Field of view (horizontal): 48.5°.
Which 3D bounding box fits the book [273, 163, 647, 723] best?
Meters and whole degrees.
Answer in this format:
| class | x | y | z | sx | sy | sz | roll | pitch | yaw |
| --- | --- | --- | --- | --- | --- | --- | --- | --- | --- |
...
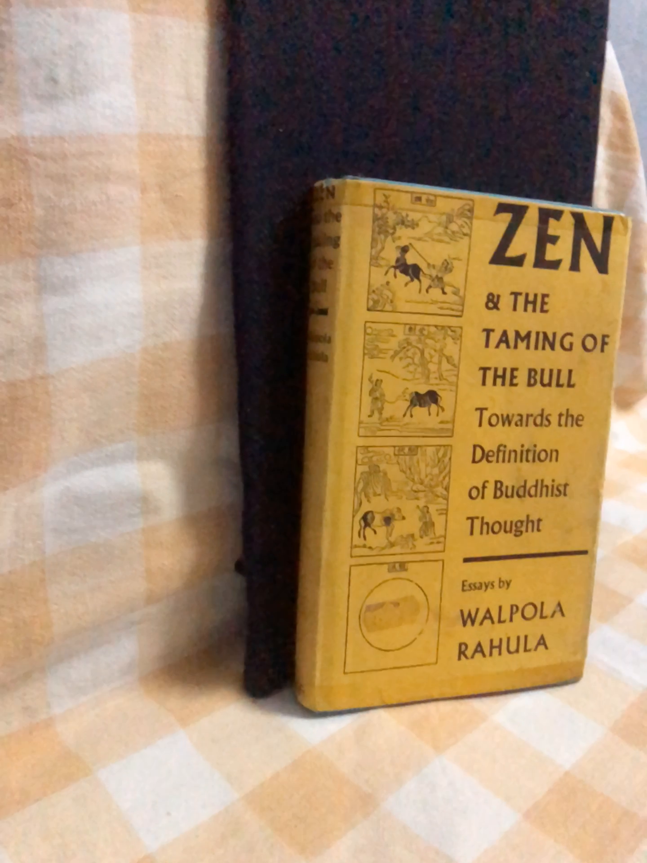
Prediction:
| class | x | y | z | sx | sy | sz | roll | pitch | yaw |
| --- | --- | --- | --- | --- | --- | --- | --- | --- | --- |
| book | 0.058 | 0.009 | 0.302 | 0.140 | 0.210 | 0.030 | 1 | 10 | -20 |
